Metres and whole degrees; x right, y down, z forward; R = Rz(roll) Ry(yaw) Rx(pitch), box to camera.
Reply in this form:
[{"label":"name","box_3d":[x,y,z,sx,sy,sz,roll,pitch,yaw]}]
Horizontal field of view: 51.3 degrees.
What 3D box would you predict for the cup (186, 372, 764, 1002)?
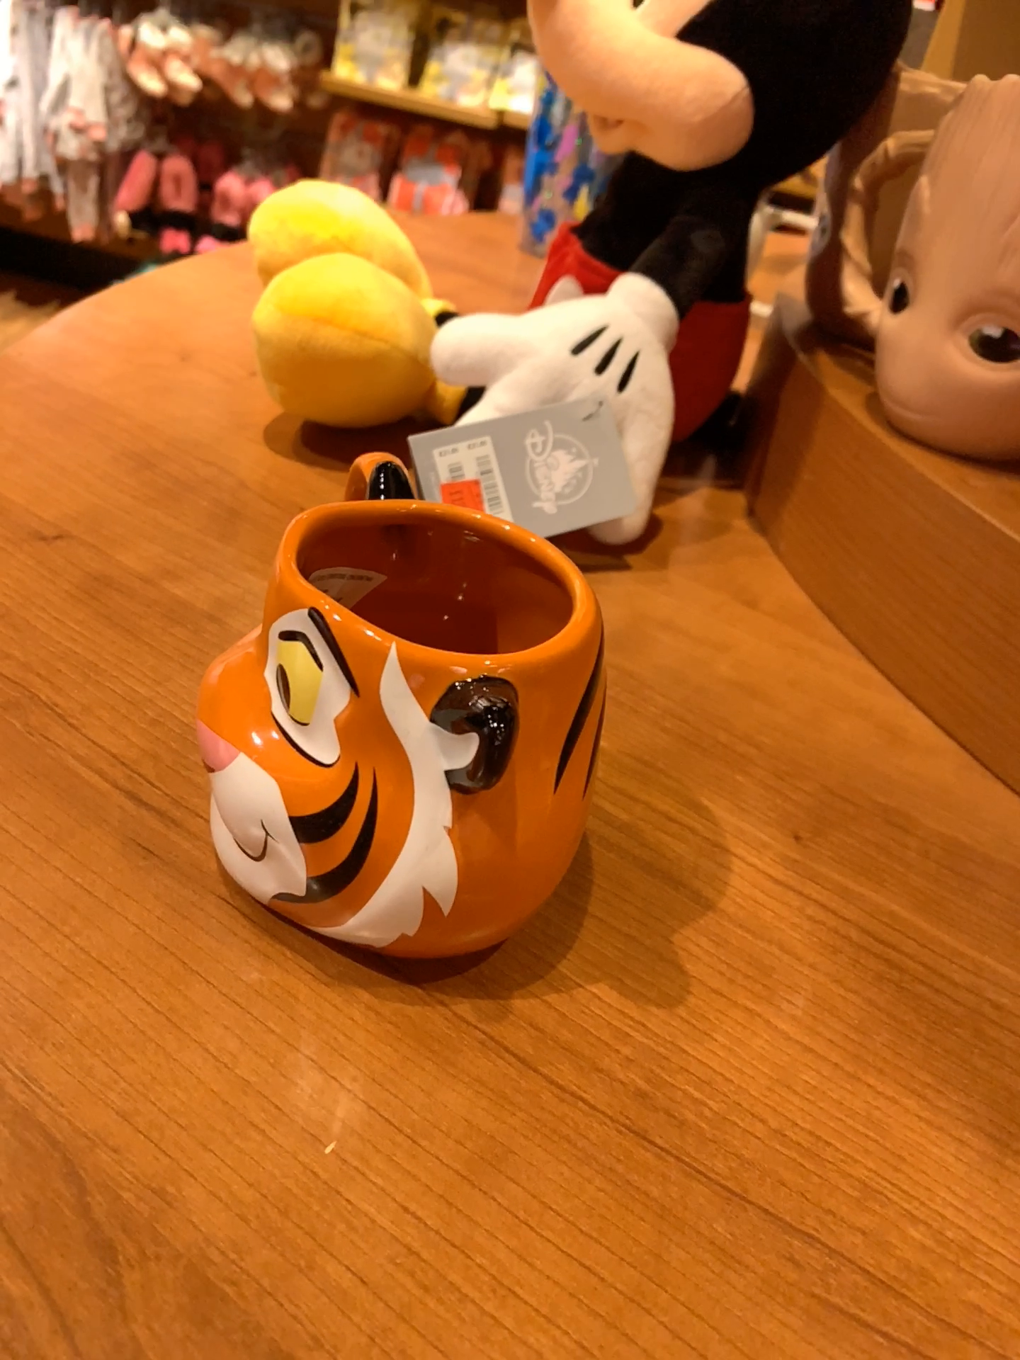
[{"label":"cup","box_3d":[-0.026,-0.009,0.285,0.106,0.086,0.151,0,35,-21]}]
